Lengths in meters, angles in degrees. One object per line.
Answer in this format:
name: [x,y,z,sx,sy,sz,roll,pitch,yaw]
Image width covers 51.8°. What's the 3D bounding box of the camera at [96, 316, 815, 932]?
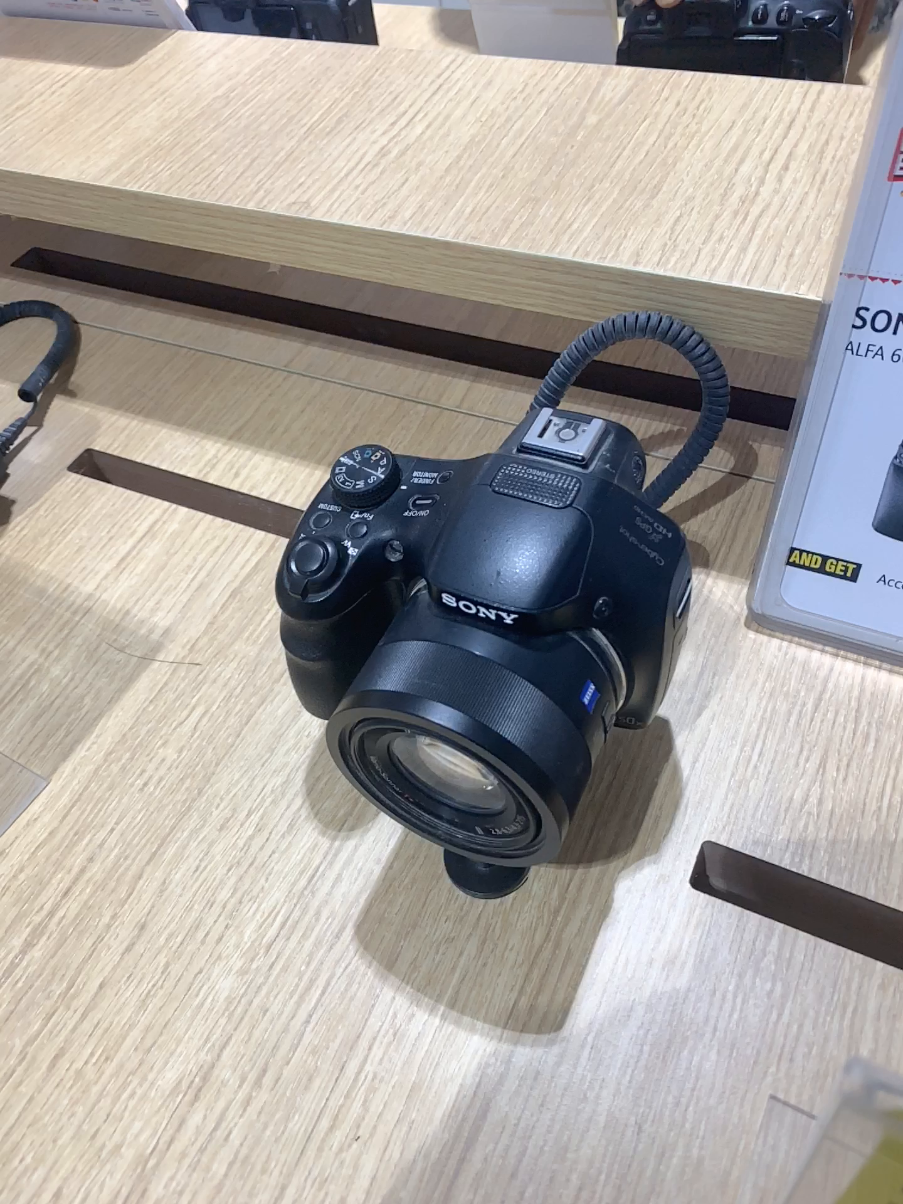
camera: [0.006,0.003,0.251,0.140,0.100,0.090,16,55,20]
